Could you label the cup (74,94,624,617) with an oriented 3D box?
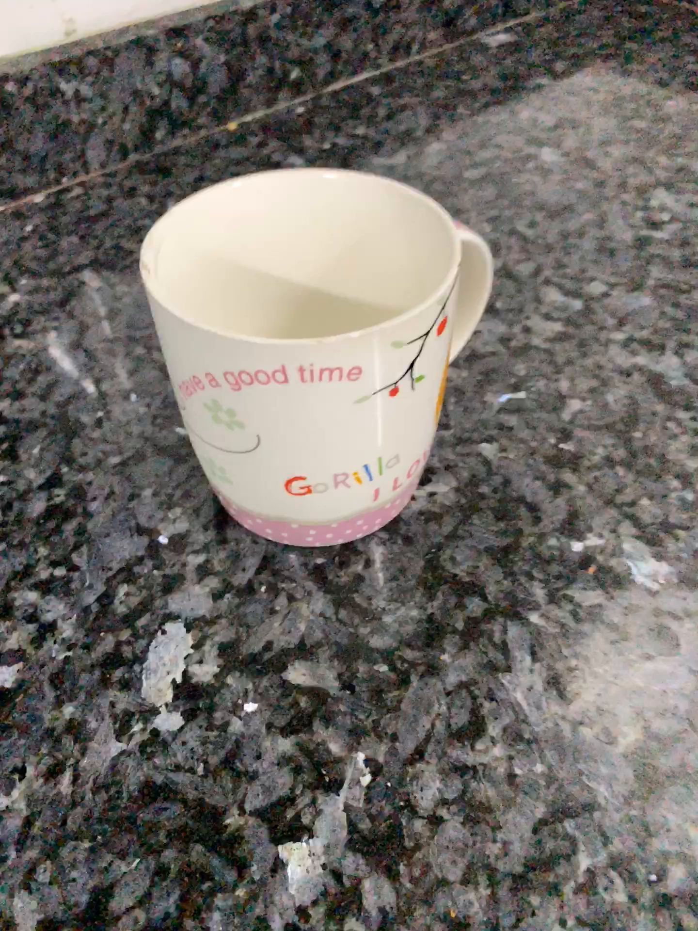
[{"bbox_3d":[0.003,-0.039,0.223,0.120,0.089,0.080,-33,55,-26],"label":"cup"}]
